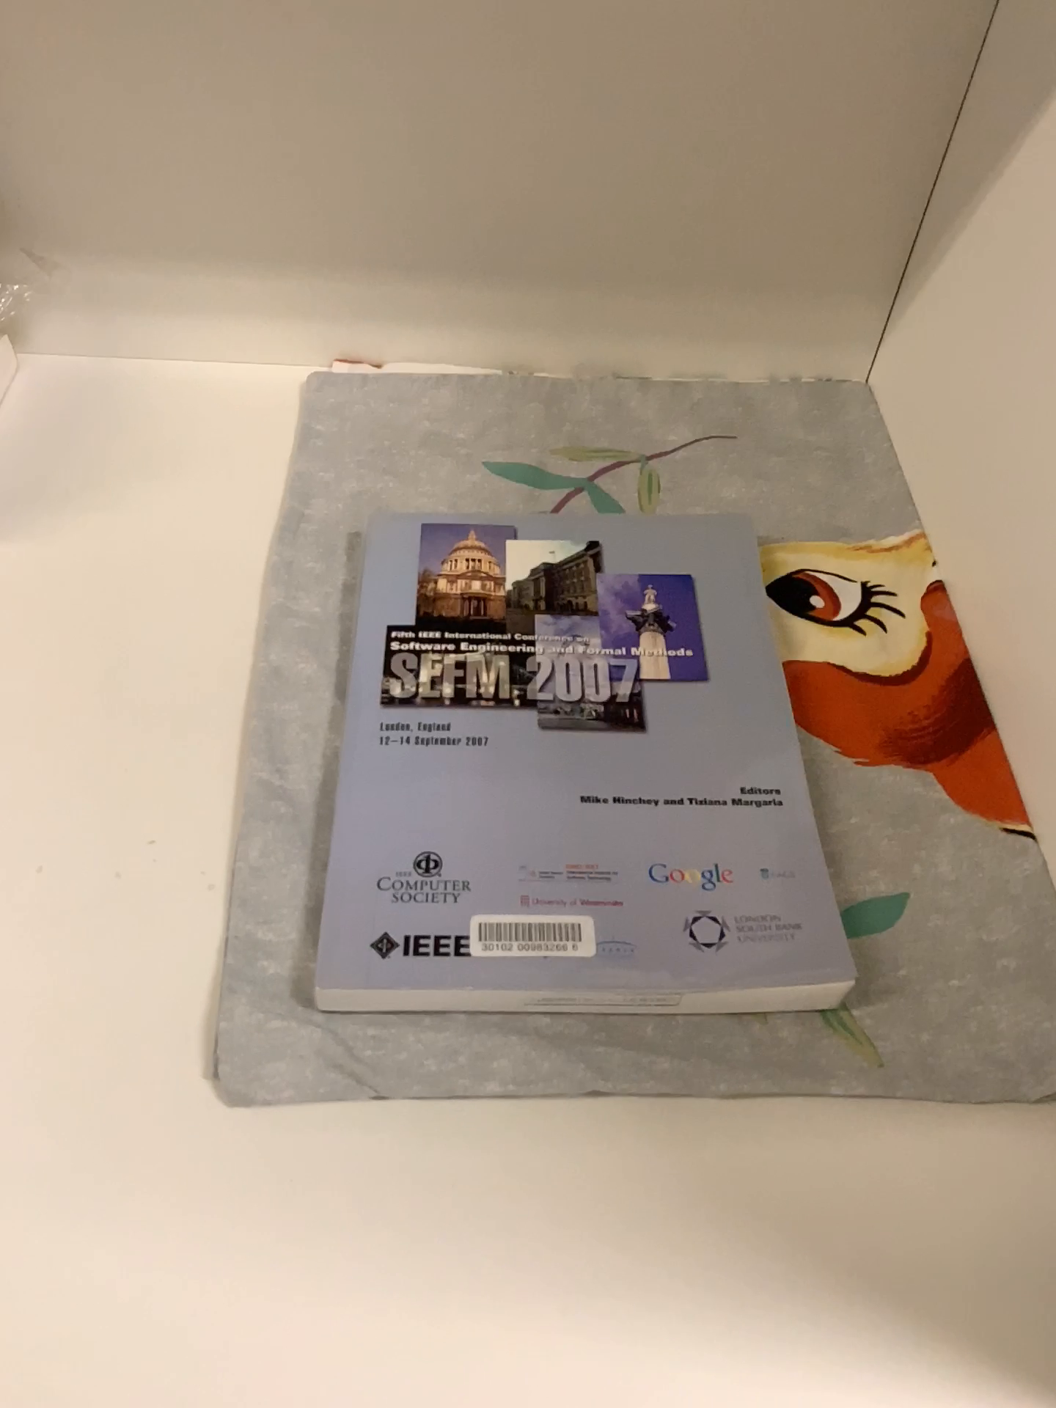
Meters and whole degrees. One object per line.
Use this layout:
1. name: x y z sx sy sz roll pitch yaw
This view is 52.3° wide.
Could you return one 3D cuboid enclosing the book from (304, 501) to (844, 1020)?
1. book: 0.019 0.010 0.515 0.210 0.030 0.277 2 51 -2
